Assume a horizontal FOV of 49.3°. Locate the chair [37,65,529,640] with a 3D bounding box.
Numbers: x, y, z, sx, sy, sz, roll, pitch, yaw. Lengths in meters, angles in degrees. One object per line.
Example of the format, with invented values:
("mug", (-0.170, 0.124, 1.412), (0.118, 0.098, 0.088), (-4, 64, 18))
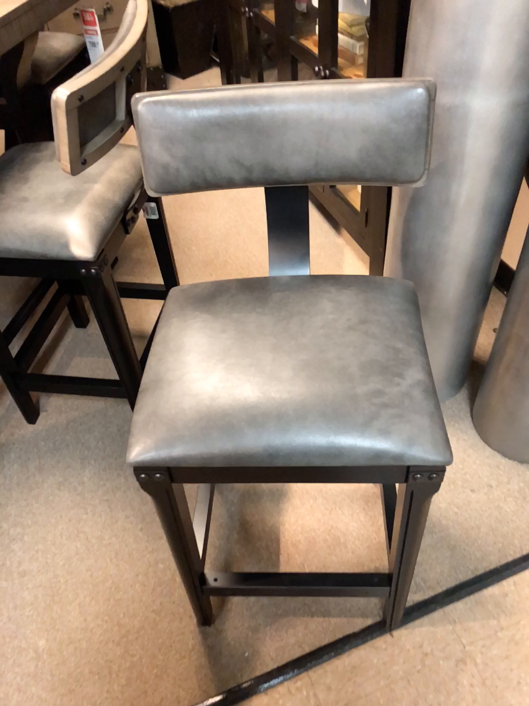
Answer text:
("chair", (0.054, 0.079, 0.949), (0.440, 0.865, 0.463), (-1, 46, 3))
